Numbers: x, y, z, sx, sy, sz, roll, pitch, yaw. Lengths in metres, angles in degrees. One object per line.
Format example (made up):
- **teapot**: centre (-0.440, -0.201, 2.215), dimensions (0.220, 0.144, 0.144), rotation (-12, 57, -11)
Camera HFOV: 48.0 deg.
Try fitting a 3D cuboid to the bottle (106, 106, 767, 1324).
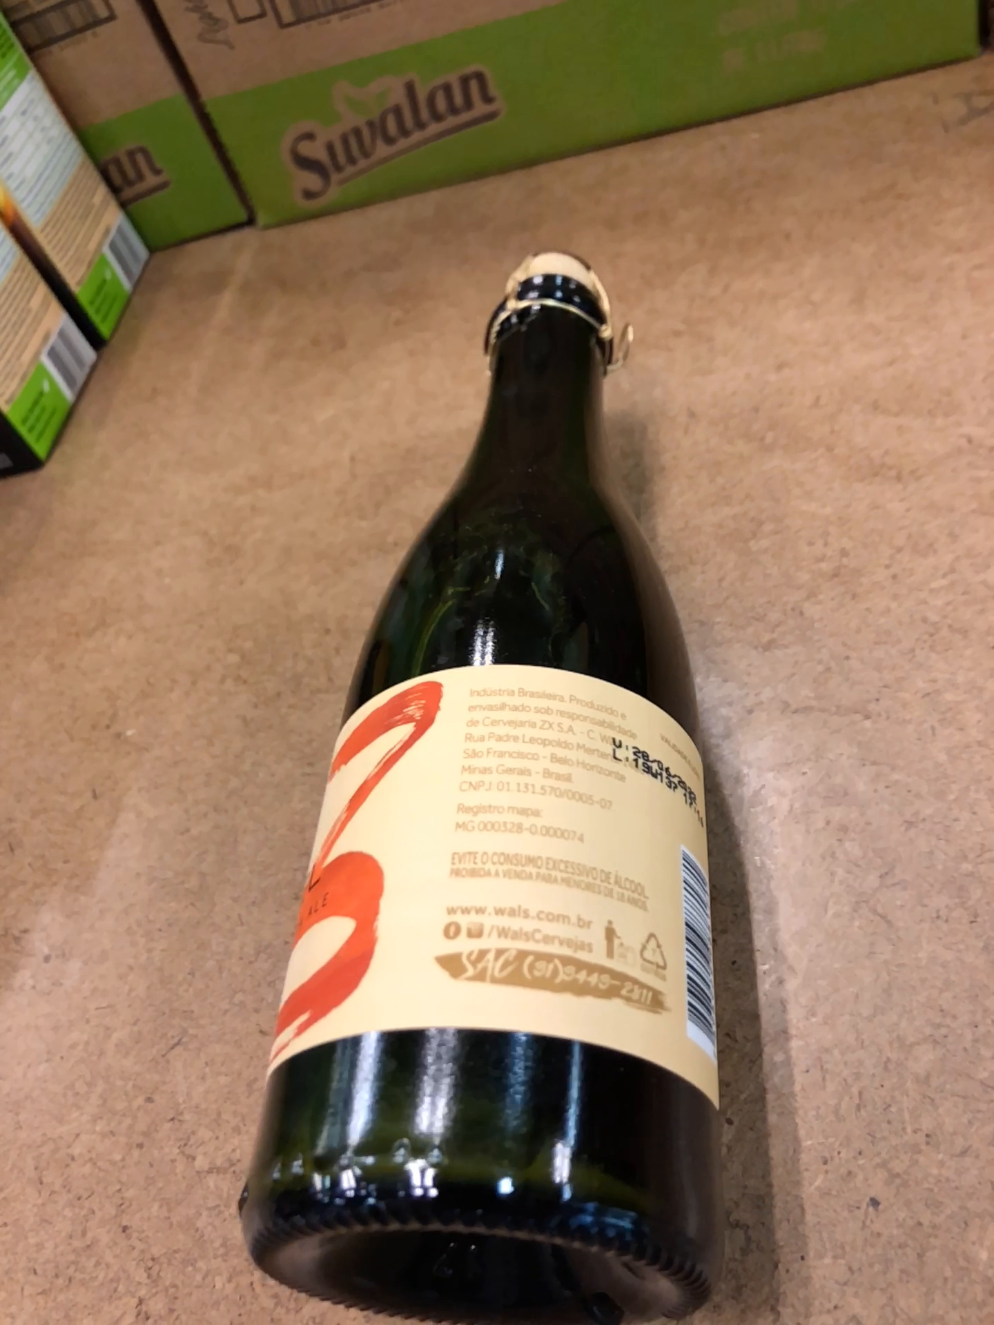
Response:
- **bottle**: centre (0.005, -0.021, 0.227), dimensions (0.070, 0.050, 0.271), rotation (-8, 47, 15)
